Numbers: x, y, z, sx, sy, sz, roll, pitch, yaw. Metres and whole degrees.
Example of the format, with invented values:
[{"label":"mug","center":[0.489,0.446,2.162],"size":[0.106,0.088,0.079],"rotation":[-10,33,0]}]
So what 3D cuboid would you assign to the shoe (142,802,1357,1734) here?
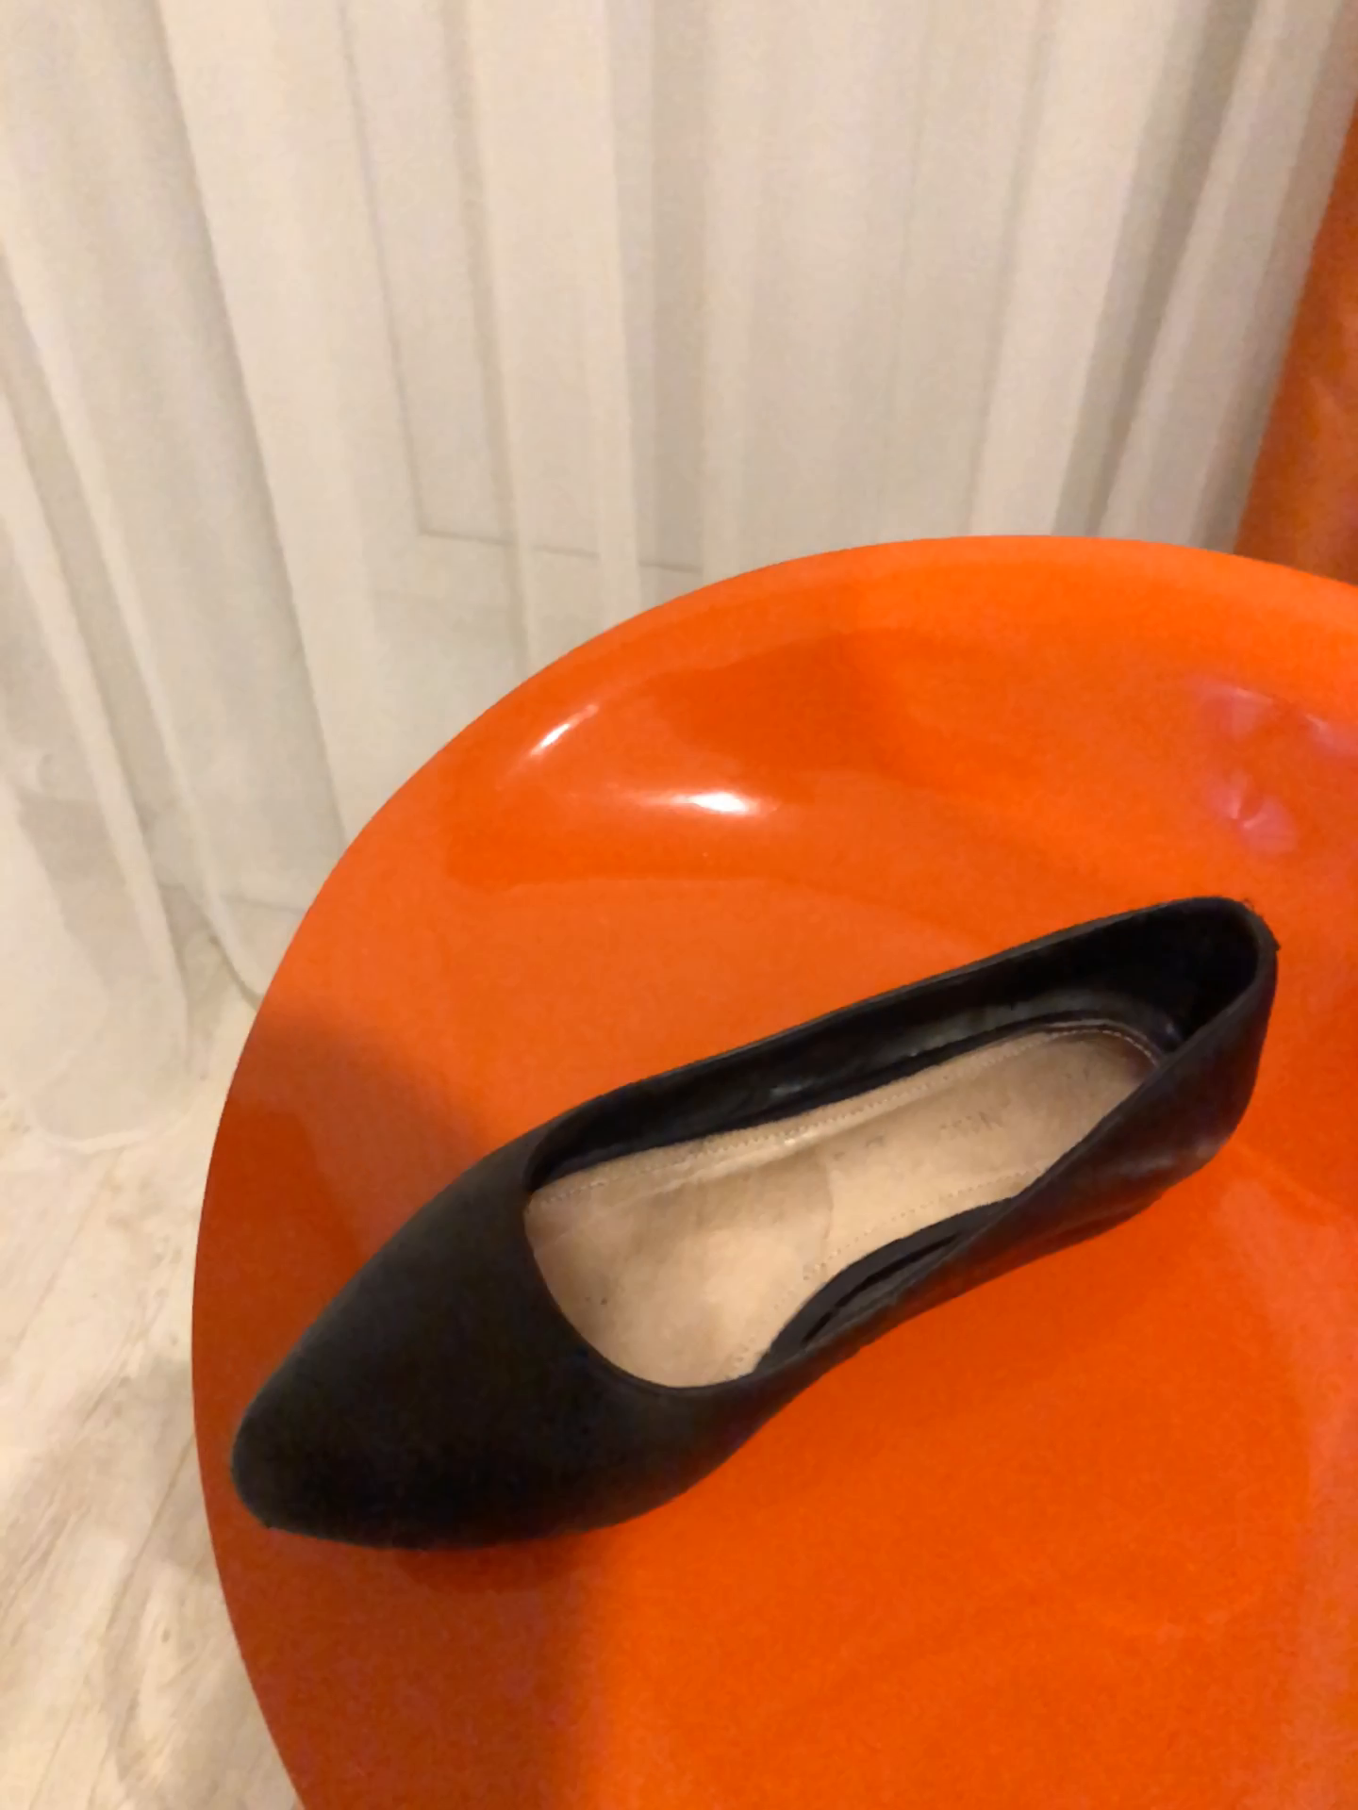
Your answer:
[{"label":"shoe","center":[0.024,0.074,0.354],"size":[0.261,0.079,0.090],"rotation":[-21,51,-18]}]
